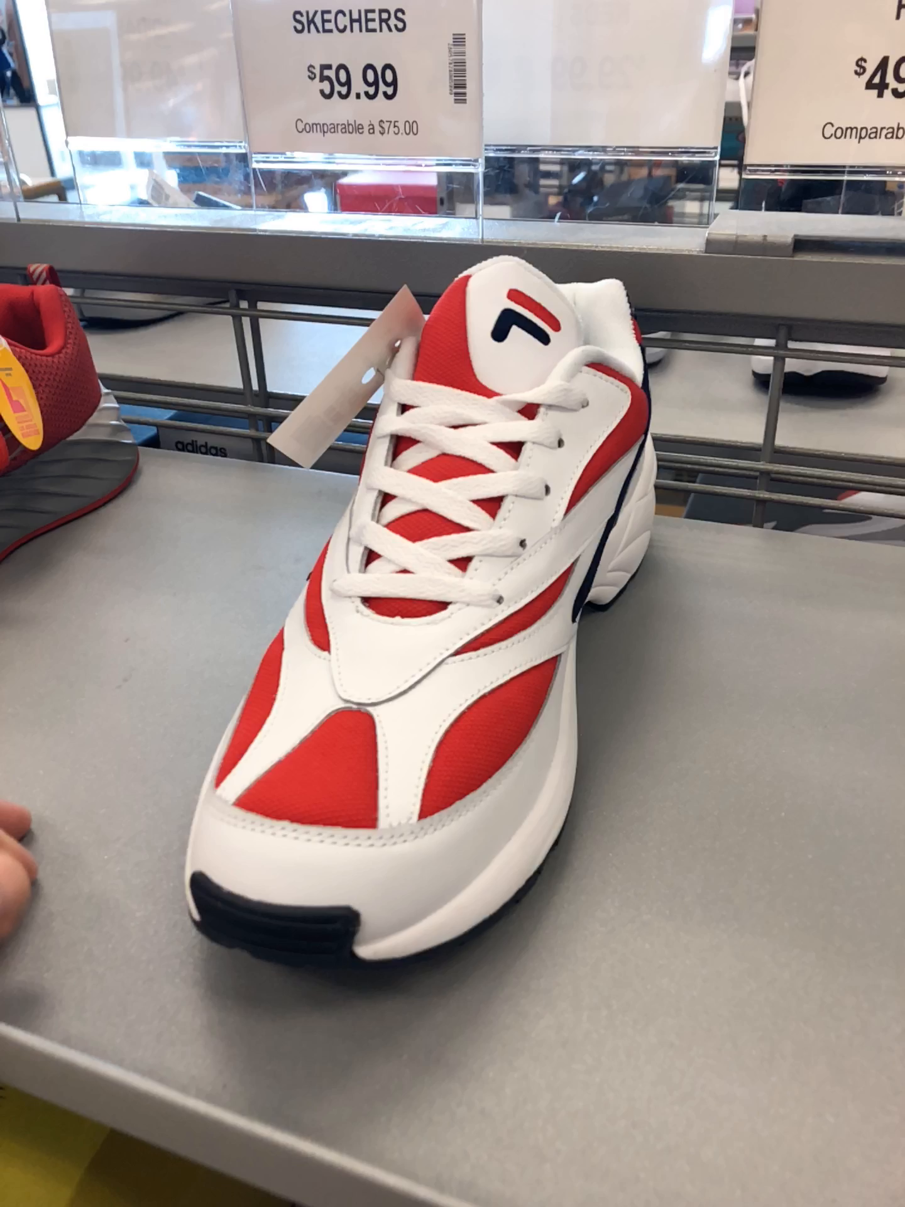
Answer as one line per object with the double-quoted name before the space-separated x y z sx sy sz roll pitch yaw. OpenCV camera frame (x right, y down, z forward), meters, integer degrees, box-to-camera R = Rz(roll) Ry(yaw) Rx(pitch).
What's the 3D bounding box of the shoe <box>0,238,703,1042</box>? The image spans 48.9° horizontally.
"shoe" -0.003 -0.025 0.339 0.120 0.129 0.272 9 34 19
